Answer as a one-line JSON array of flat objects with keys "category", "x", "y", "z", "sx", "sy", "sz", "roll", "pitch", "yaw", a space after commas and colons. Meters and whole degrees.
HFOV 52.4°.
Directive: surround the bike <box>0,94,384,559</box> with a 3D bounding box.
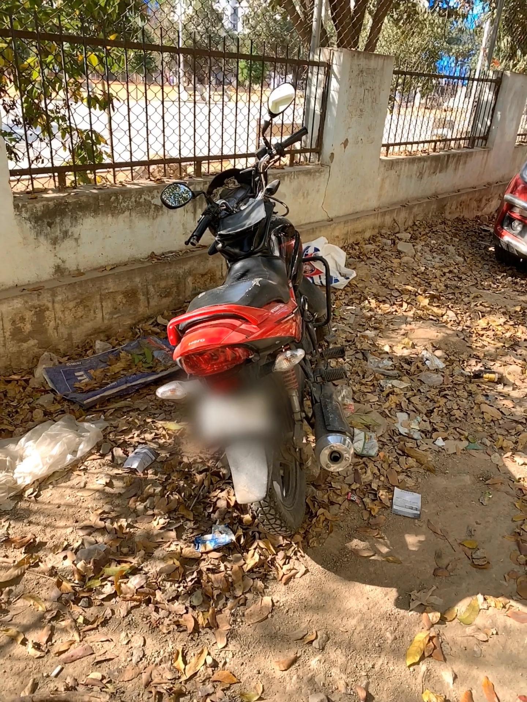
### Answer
[{"category": "bike", "x": -0.160, "y": -0.221, "z": 1.892, "sx": 0.822, "sy": 1.067, "sz": 1.296, "roll": 4, "pitch": 30, "yaw": 1}]
